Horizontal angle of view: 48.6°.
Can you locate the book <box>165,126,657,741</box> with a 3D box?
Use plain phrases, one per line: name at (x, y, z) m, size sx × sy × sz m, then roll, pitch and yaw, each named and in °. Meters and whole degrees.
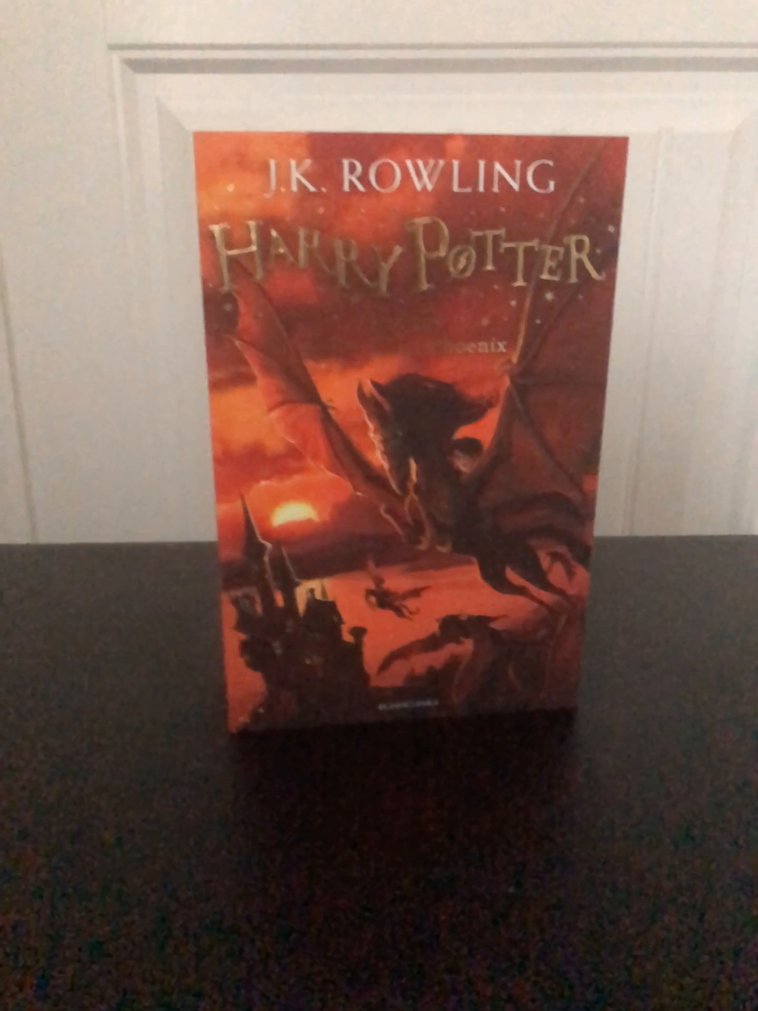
book at (0.007, -0.024, 0.293) m, size 0.141 × 0.189 × 0.061 m, roll -3°, pitch 18°, yaw -9°
